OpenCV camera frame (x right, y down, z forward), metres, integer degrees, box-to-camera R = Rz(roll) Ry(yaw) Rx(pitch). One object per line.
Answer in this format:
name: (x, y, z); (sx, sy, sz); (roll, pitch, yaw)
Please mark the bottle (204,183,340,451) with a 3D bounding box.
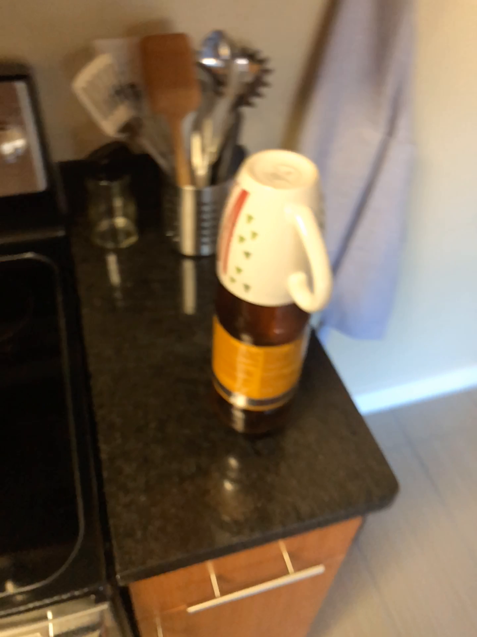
bottle: (0.028, 0.012, 0.582); (0.100, 0.279, 0.100); (2, 44, -2)
